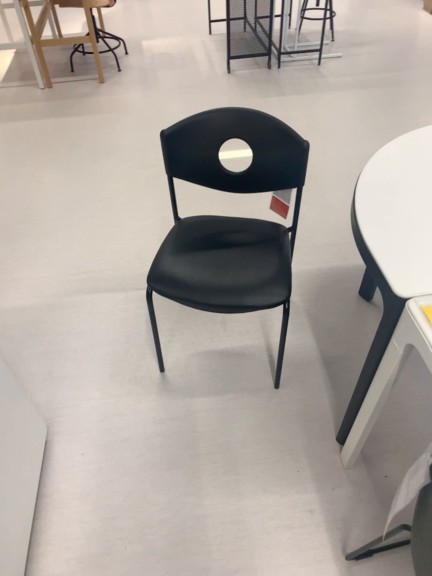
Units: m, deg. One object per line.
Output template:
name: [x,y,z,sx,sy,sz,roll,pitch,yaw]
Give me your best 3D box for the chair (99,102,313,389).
chair: [0.022,-0.135,1.495,0.510,0.737,0.582,5,46,7]
